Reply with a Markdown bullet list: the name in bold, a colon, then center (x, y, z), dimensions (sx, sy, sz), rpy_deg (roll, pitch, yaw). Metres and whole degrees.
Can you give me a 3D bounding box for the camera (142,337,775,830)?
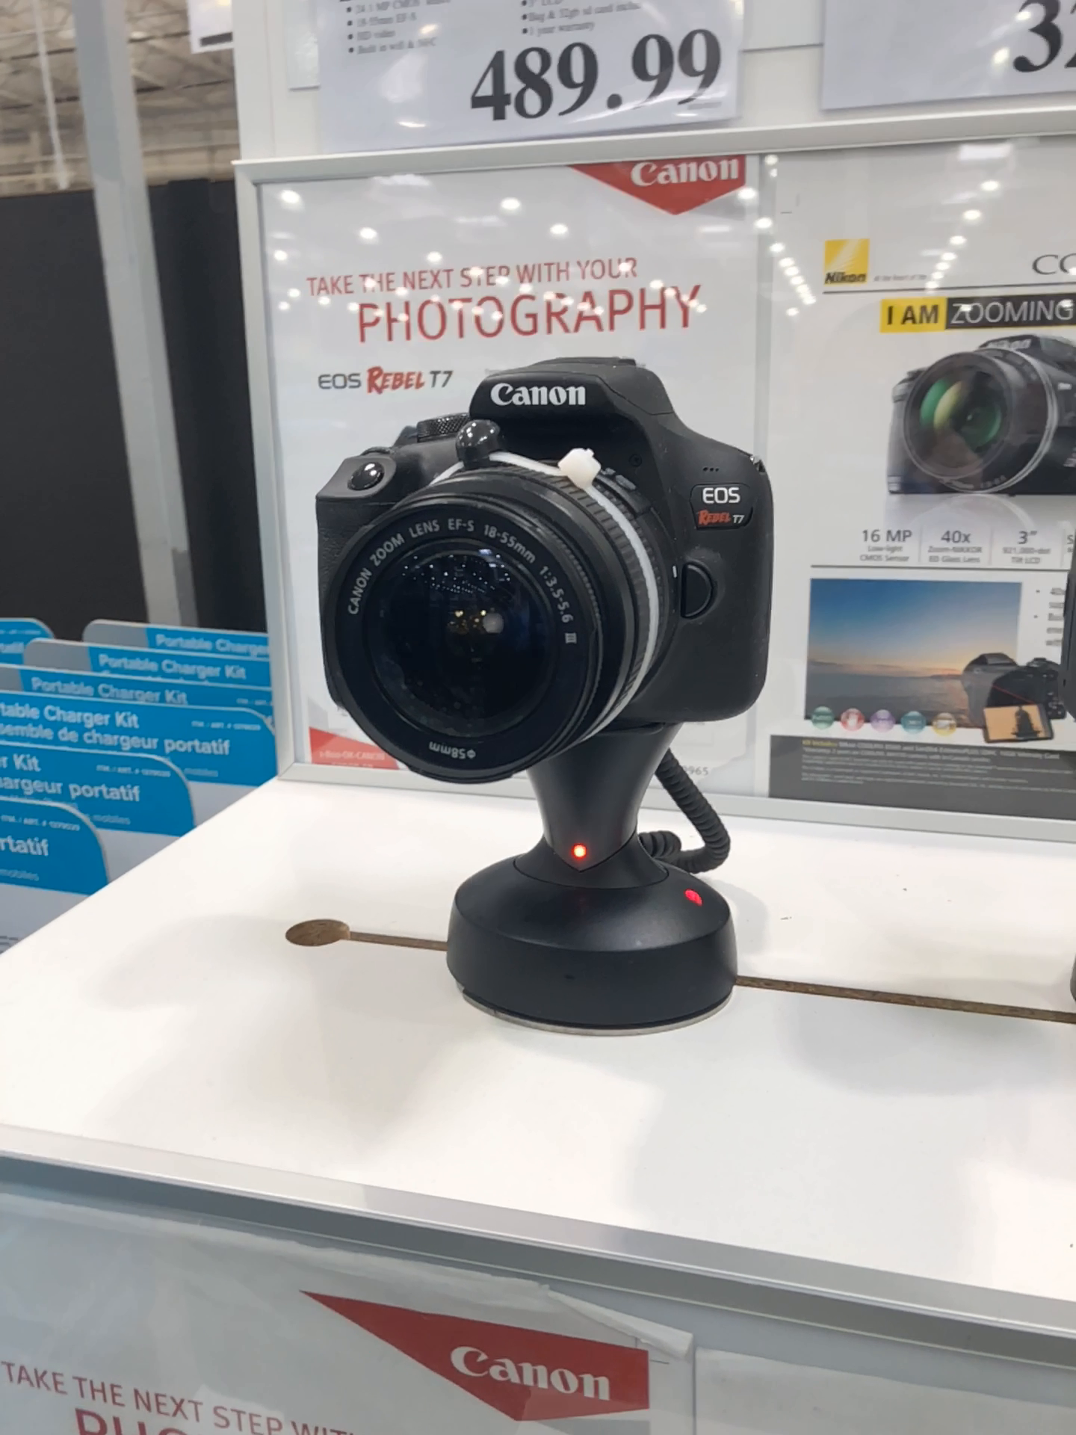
- **camera**: center (-0.008, -0.042, 0.312), dimensions (0.130, 0.100, 0.120), rpy_deg (2, 15, 13)
